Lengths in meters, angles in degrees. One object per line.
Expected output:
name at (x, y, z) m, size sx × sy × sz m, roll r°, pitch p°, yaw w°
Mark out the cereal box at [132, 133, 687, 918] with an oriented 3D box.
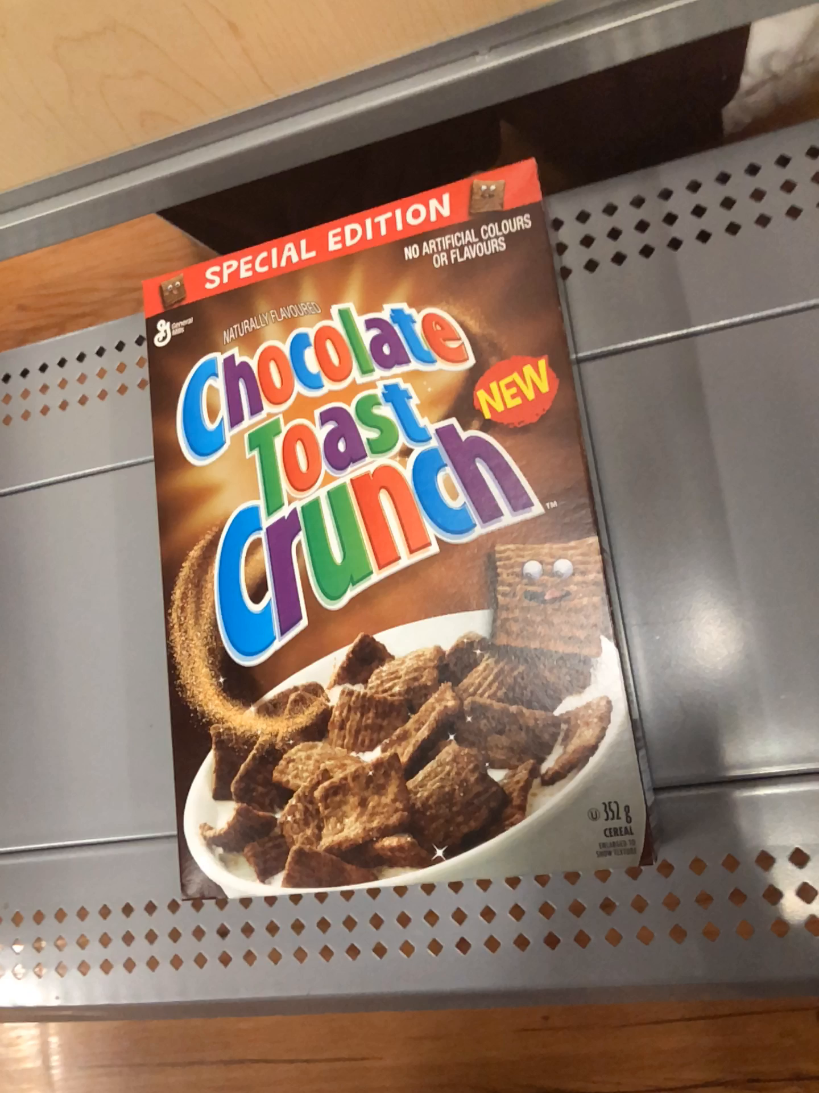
cereal box at (-0.006, -0.003, 0.405) m, size 0.200 × 0.090 × 0.290 m, roll -10°, pitch 76°, yaw 16°
